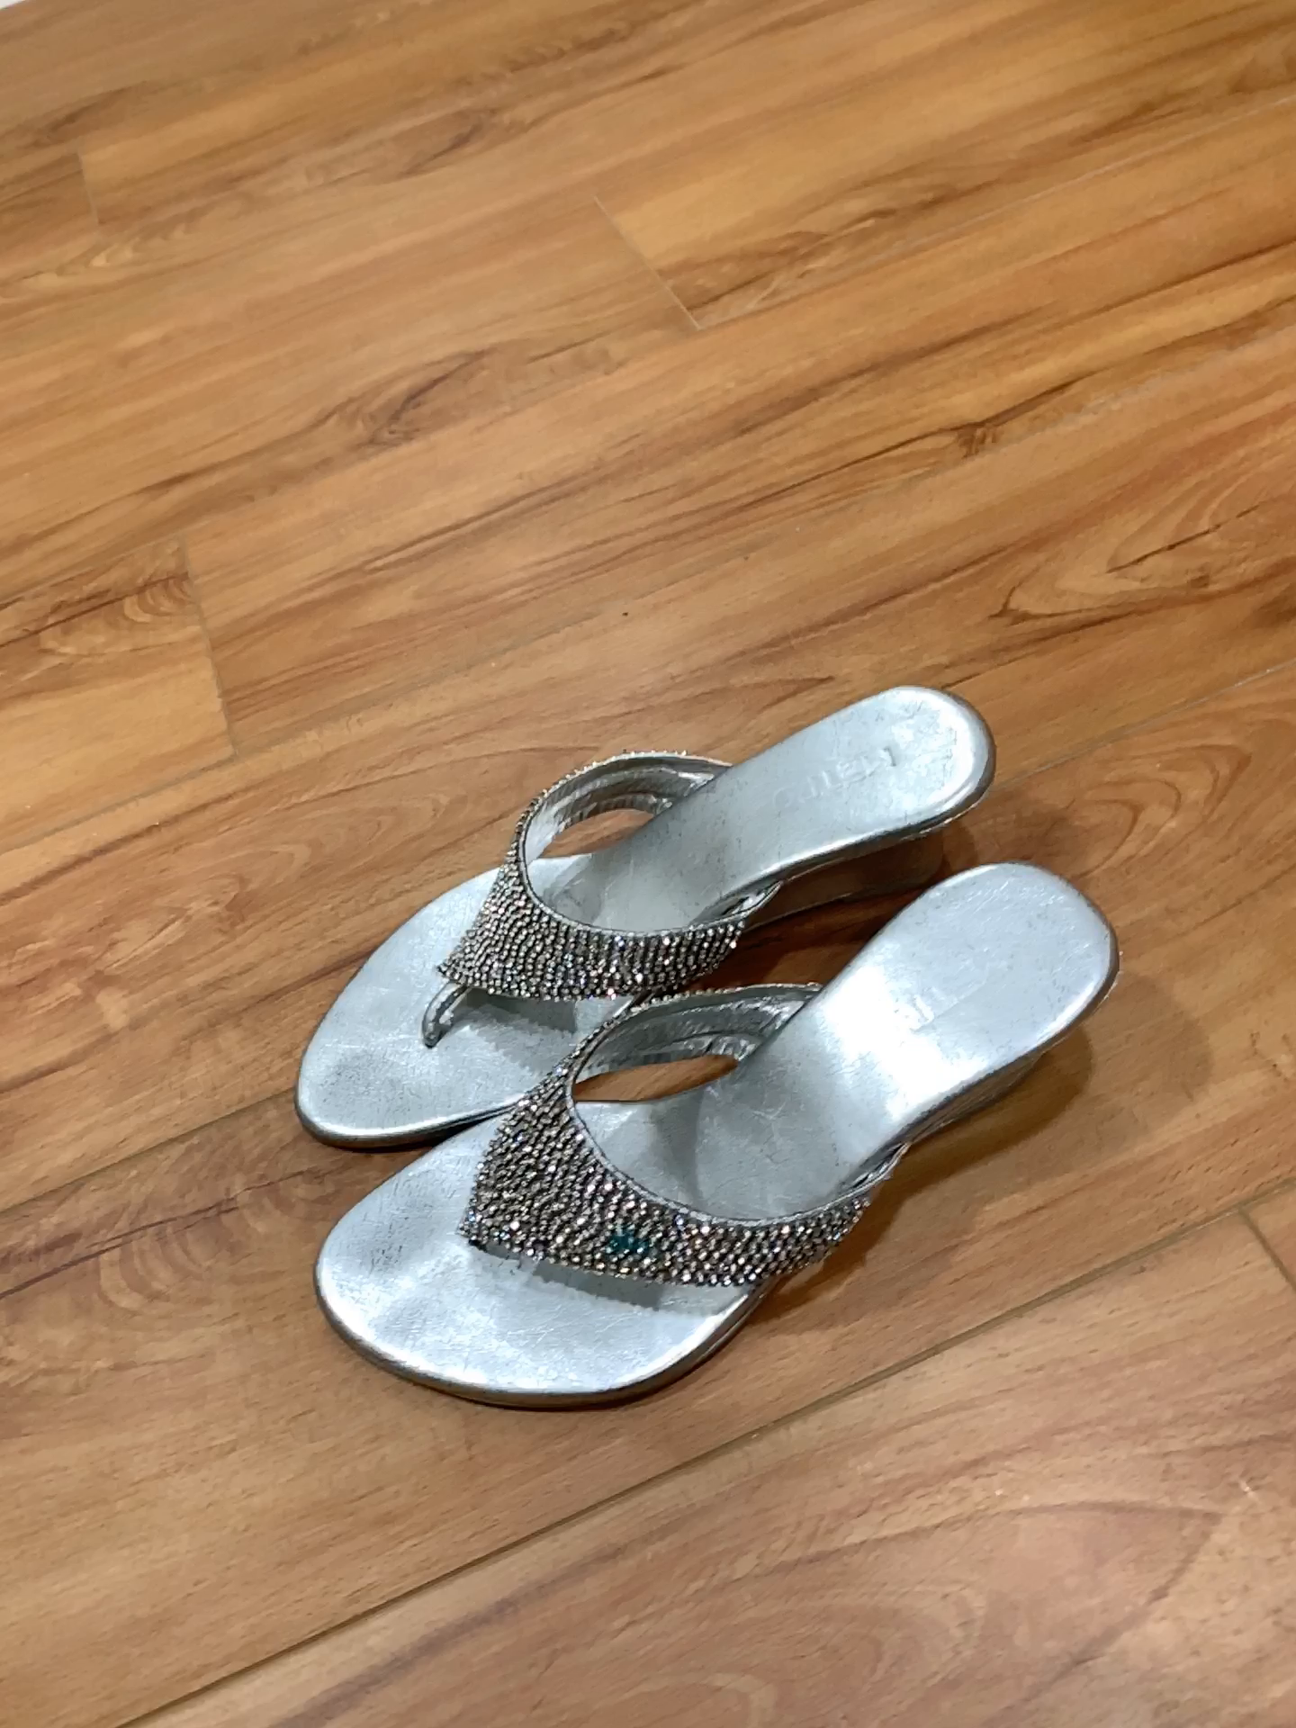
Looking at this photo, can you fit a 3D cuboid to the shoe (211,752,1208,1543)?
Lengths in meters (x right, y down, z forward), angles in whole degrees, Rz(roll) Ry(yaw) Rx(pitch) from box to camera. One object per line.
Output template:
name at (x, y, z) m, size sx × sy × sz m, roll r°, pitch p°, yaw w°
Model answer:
shoe at (0.016, 0.072, 0.356) m, size 0.228 × 0.073 × 0.096 m, roll -25°, pitch 53°, yaw -7°

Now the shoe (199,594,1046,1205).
shoe at (-0.007, 0.010, 0.405) m, size 0.228 × 0.073 × 0.086 m, roll -21°, pitch 52°, yaw -3°
